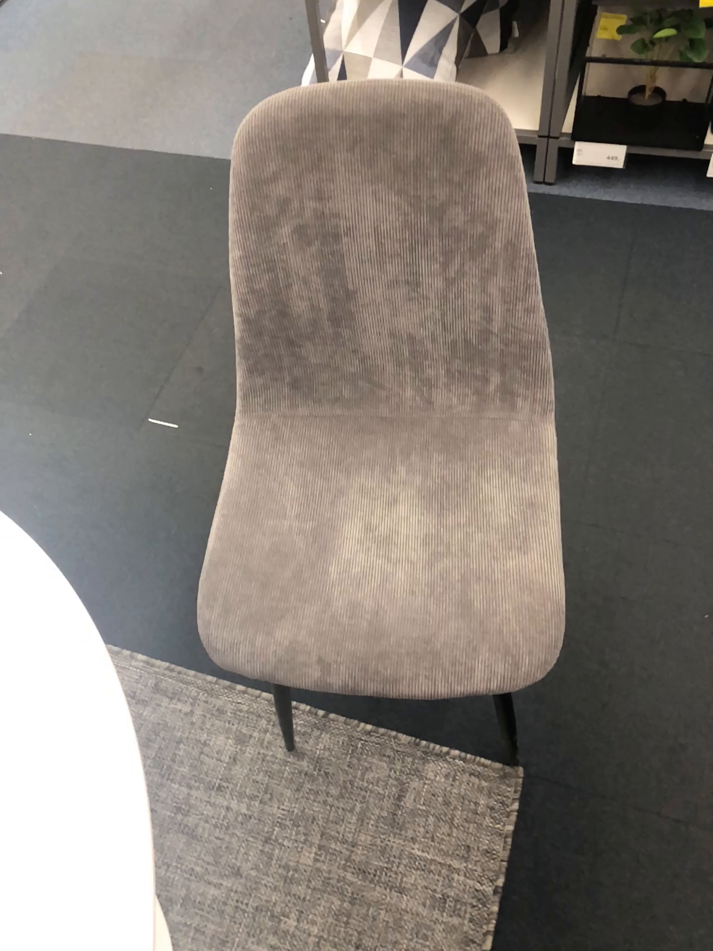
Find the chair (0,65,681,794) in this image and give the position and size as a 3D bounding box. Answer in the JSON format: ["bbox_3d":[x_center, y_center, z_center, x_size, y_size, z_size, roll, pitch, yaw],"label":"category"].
[{"bbox_3d":[0.010,0.005,1.060,0.580,0.808,0.581,4,57,9],"label":"chair"}]
